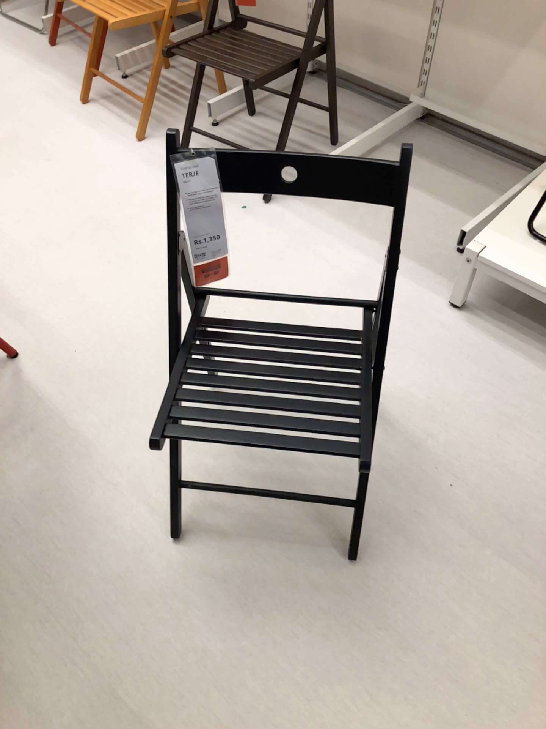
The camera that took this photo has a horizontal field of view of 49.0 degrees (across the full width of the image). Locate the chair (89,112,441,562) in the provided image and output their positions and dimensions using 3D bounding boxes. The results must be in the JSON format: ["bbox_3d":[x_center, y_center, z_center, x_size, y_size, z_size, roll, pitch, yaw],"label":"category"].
[{"bbox_3d":[0.017,-0.011,1.175,0.440,0.726,0.482,6,52,5],"label":"chair"}]
